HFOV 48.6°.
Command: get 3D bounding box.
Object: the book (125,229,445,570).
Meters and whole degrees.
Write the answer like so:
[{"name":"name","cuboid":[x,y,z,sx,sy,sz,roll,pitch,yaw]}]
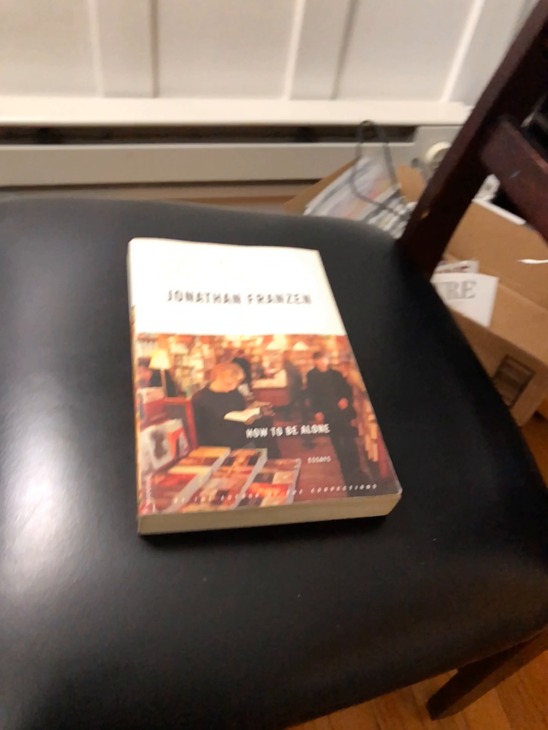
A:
[{"name":"book","cuboid":[-0.011,0.001,0.387,0.160,0.040,0.231,-2,50,-12]}]
